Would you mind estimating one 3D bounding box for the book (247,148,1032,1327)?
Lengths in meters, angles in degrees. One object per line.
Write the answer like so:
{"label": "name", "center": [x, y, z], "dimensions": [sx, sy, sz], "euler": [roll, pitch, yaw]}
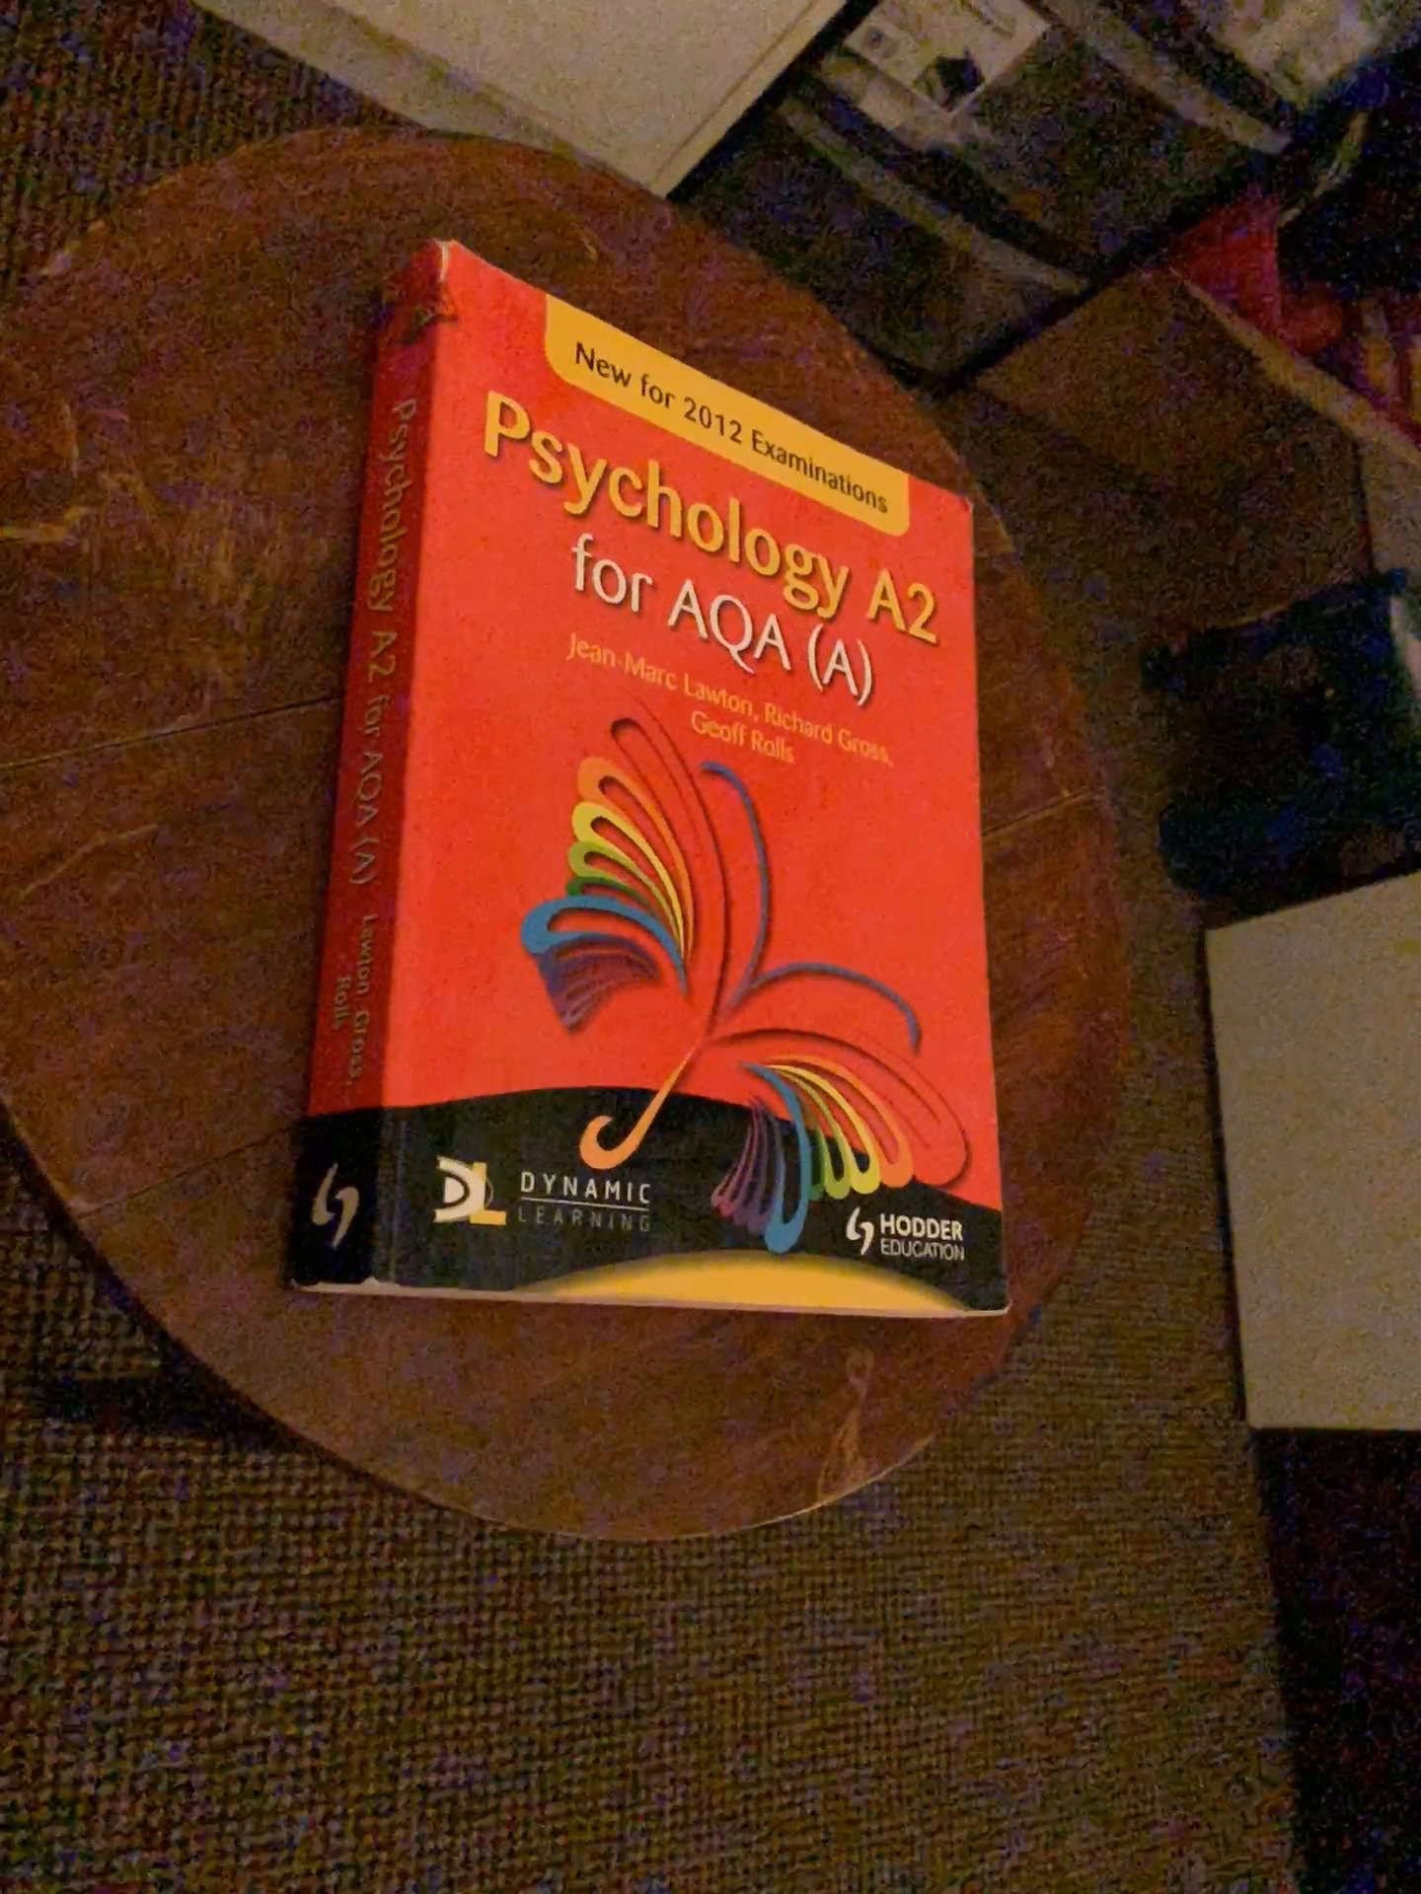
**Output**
{"label": "book", "center": [-0.005, -0.047, 0.412], "dimensions": [0.211, 0.040, 0.291], "euler": [13, 68, -34]}
